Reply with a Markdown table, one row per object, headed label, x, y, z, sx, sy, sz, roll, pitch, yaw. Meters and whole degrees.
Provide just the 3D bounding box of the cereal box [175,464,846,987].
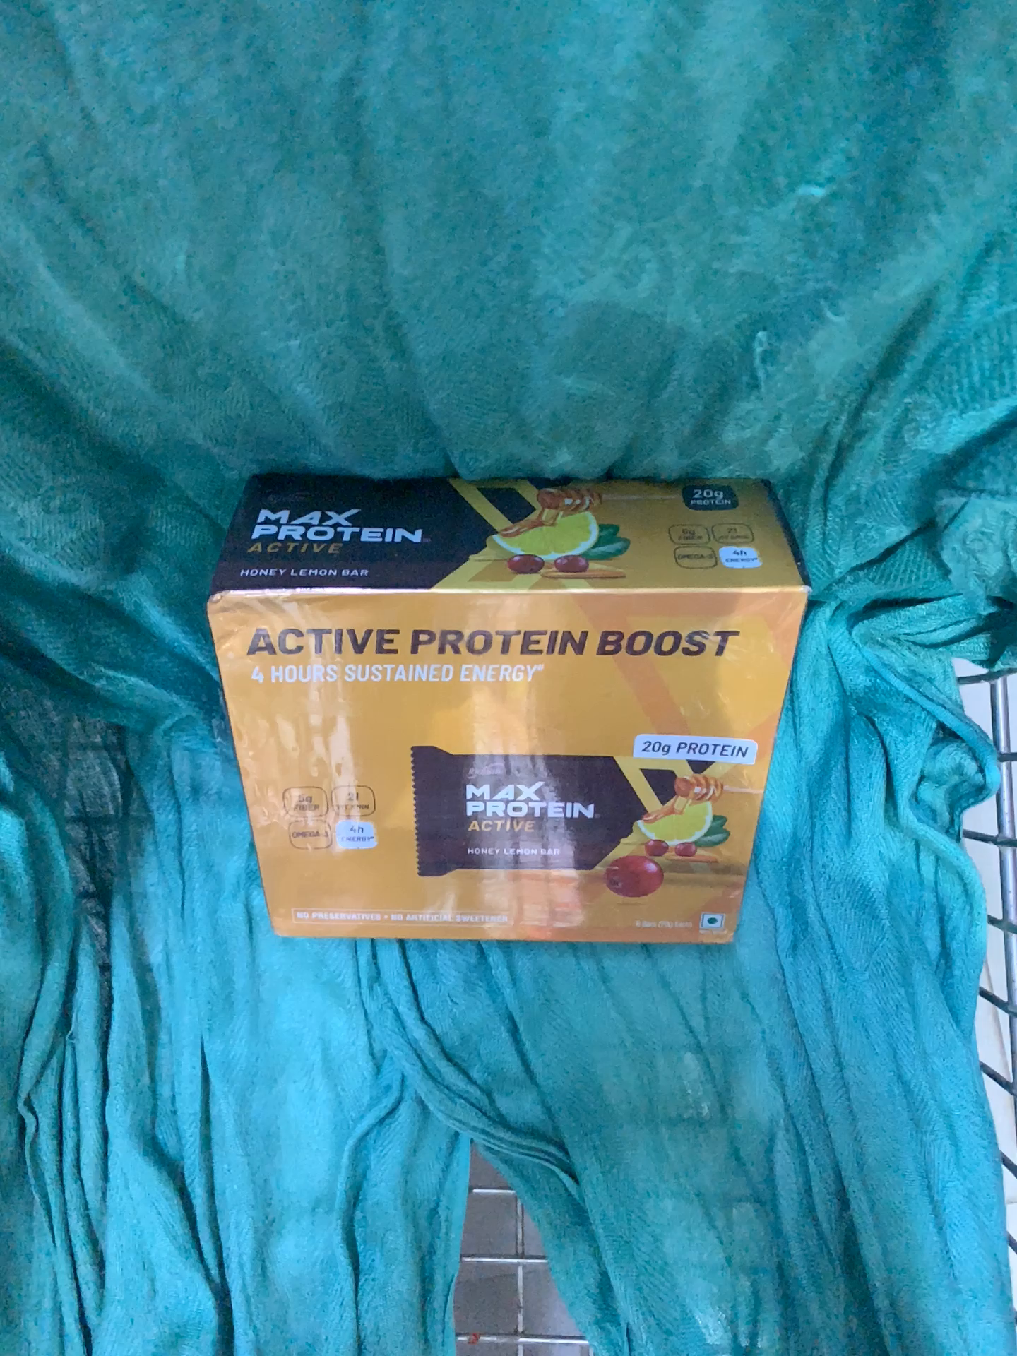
| label | x | y | z | sx | sy | sz | roll | pitch | yaw |
| --- | --- | --- | --- | --- | --- | --- | --- | --- | --- |
| cereal box | 0.001 | 0.016 | 0.322 | 0.160 | 0.080 | 0.140 | 0 | 125 | 1 |
